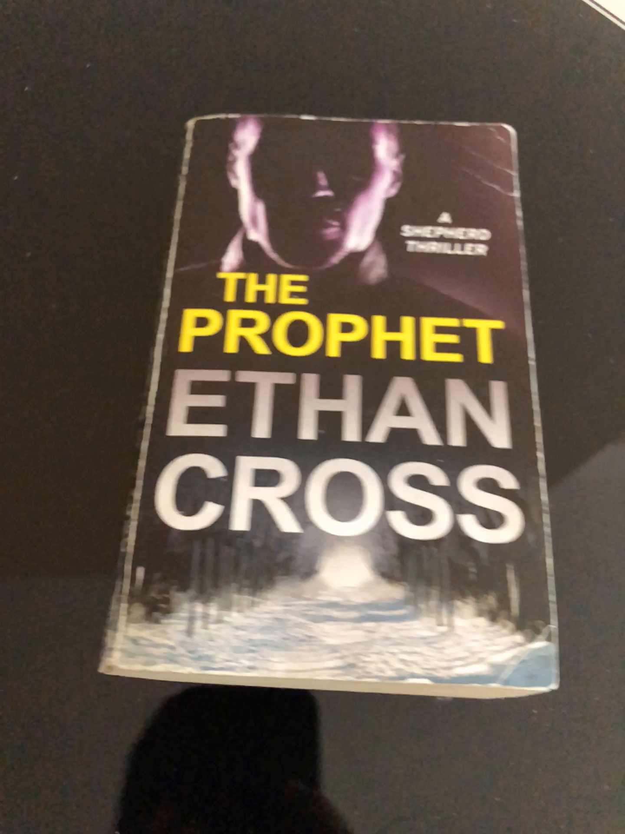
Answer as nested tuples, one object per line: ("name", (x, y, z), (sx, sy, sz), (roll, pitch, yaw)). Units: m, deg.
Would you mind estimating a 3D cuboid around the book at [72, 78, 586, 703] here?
("book", (0.008, -0.015, 0.210), (0.115, 0.040, 0.179), (3, 68, 1))
